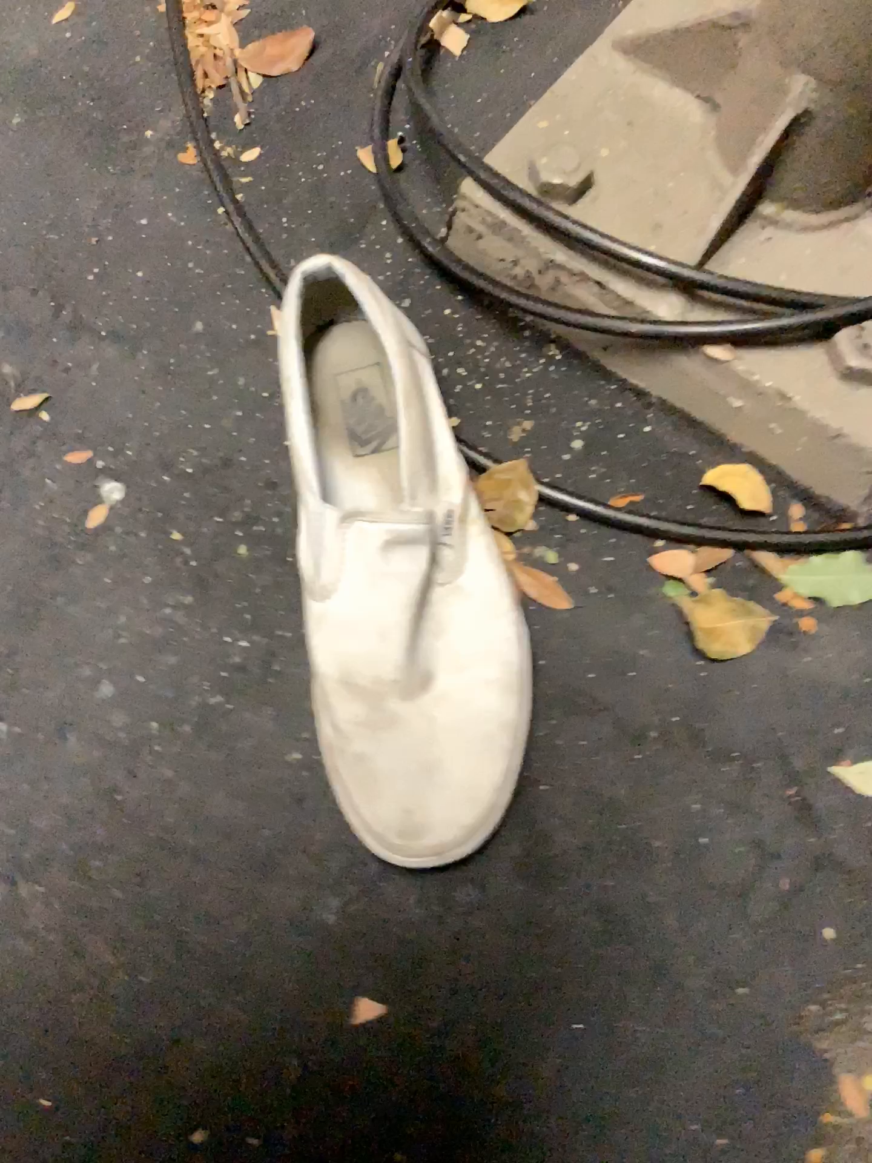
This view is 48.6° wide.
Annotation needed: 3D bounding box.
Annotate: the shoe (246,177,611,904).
[{"bbox_3d":[-0.013,-0.021,0.444,0.120,0.100,0.310,-5,71,-4],"label":"shoe"}]
